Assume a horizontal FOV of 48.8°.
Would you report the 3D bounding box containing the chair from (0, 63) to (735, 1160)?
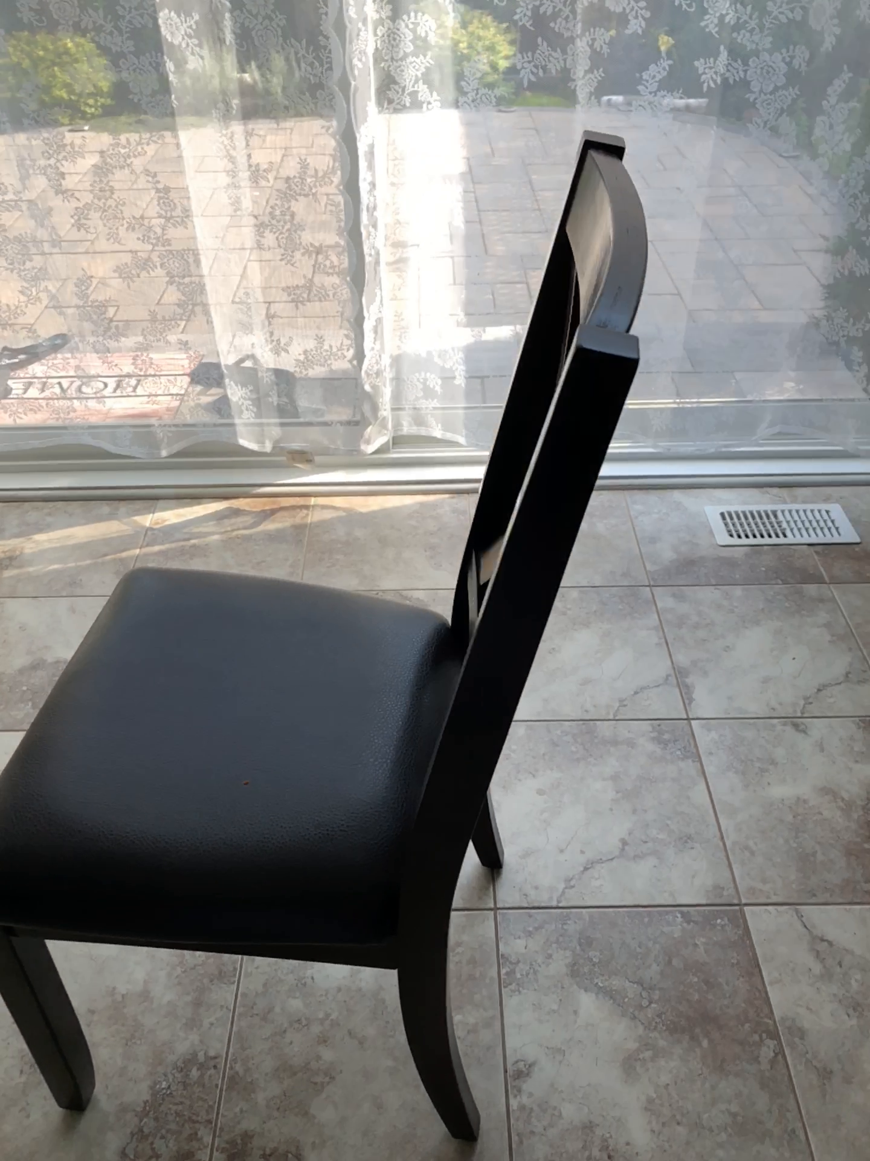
[{"bbox_3d":[-0.135,0.098,0.893,0.600,0.936,0.482,5,40,7],"label":"chair"}]
